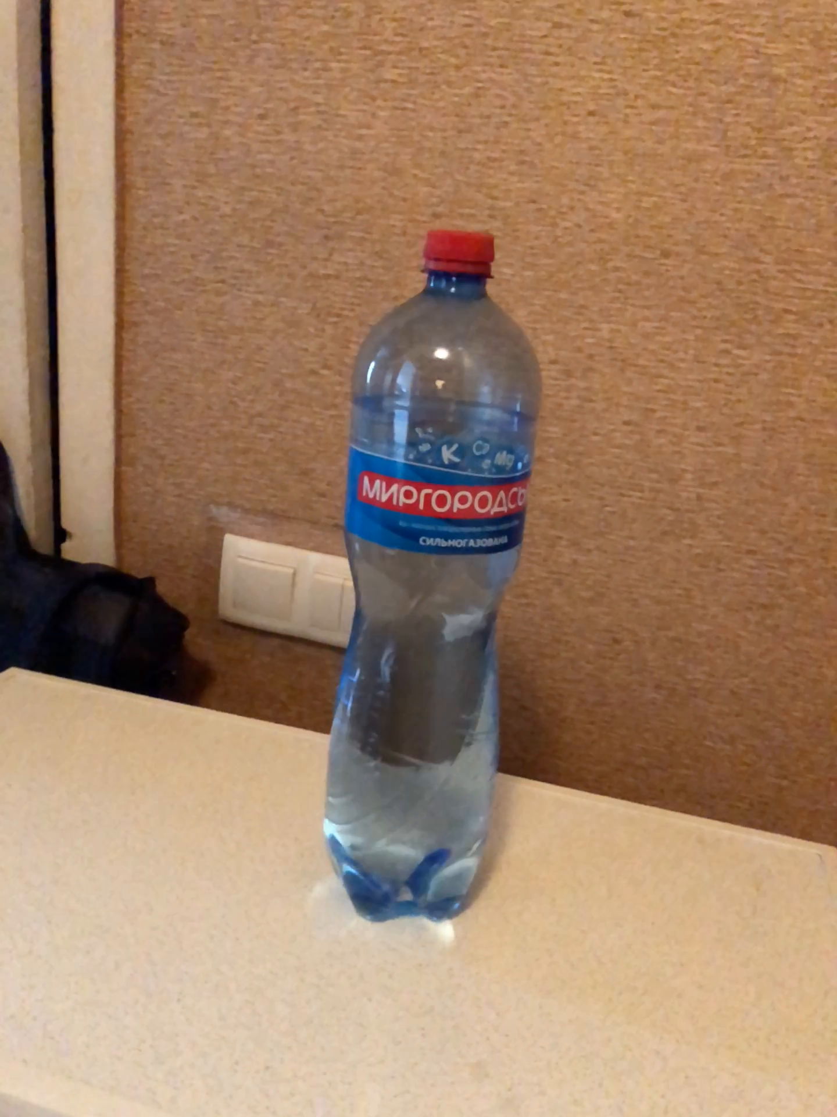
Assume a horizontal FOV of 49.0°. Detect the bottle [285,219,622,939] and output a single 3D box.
[{"bbox_3d":[0.003,0.011,0.444,0.100,0.318,0.100,6,18,-2],"label":"bottle"}]
